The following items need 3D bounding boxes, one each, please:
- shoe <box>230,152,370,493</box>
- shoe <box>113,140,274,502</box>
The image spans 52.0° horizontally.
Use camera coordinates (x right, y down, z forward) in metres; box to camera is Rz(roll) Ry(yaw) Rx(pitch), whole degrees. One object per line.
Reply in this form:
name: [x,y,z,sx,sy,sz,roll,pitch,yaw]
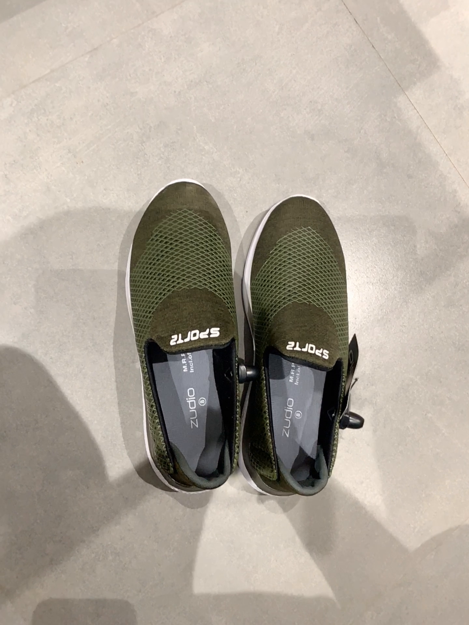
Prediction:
shoe: [0.054,0.008,0.451,0.100,0.100,0.280,0,86,-10]
shoe: [-0.041,0.004,0.431,0.100,0.100,0.280,-5,87,-10]
